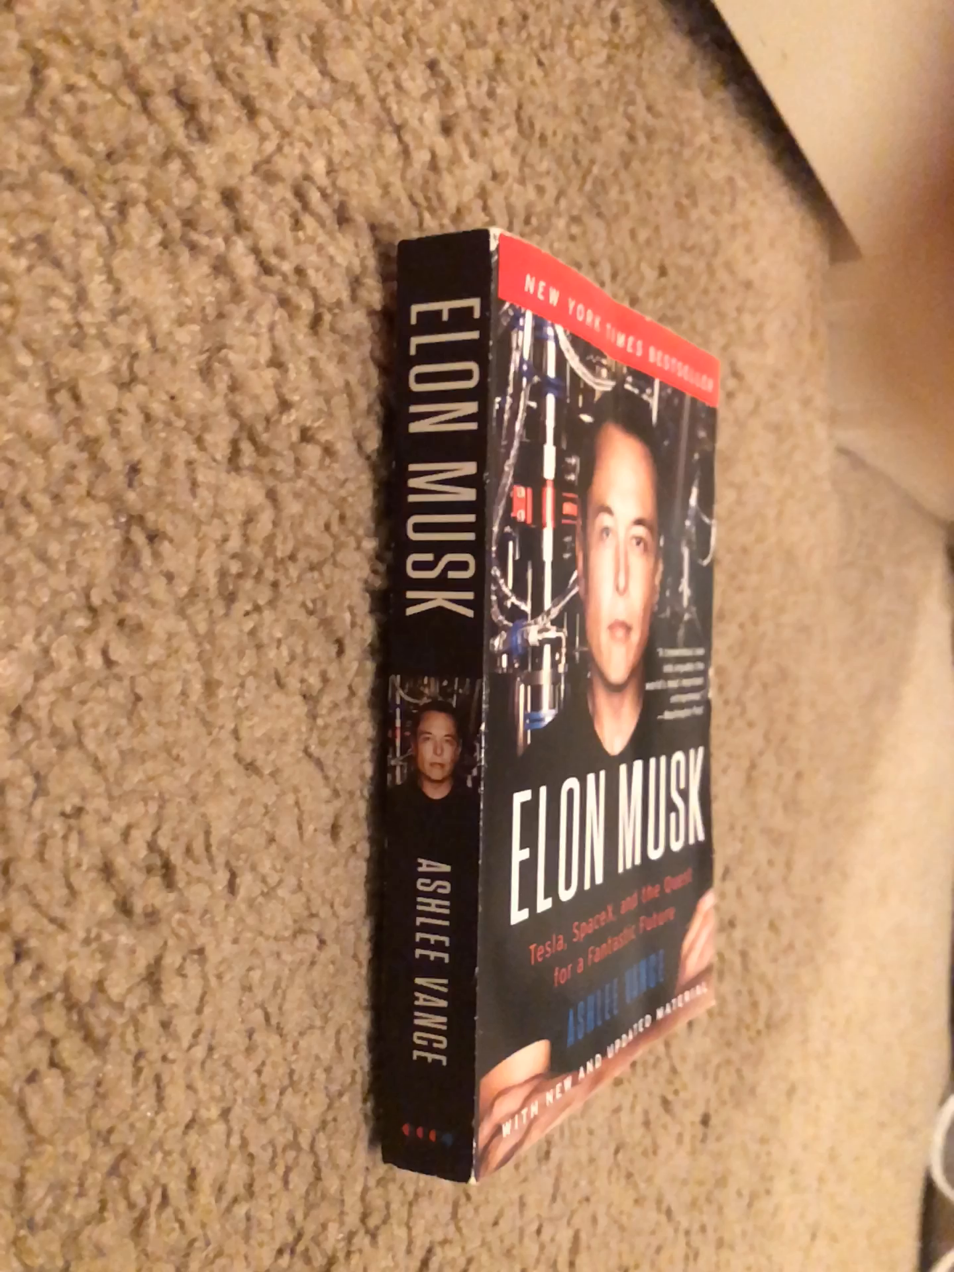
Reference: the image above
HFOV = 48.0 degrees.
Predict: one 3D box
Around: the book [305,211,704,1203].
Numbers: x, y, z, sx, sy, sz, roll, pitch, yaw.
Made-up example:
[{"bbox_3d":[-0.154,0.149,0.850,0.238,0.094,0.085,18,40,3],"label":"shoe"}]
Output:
[{"bbox_3d":[0.016,0.015,0.284,0.137,0.033,0.202,0,92,-56],"label":"book"}]
